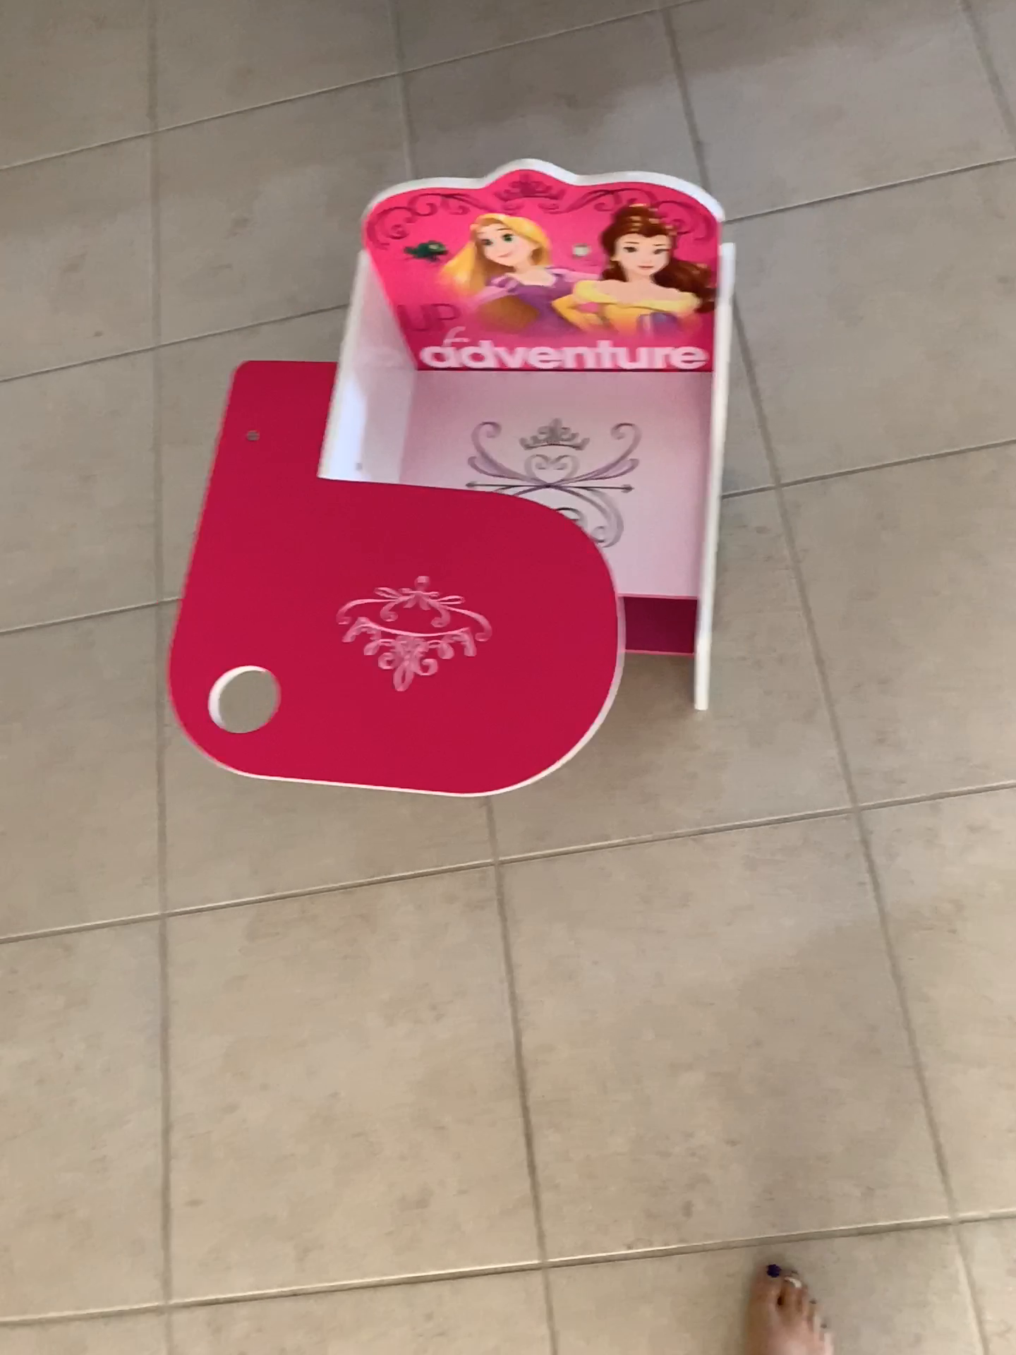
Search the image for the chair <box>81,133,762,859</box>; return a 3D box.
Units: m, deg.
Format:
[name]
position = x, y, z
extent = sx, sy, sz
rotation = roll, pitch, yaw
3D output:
[chair]
position = -0.013, -0.135, 1.140
extent = 0.531, 0.570, 0.550
rotation = 1, 72, 10
